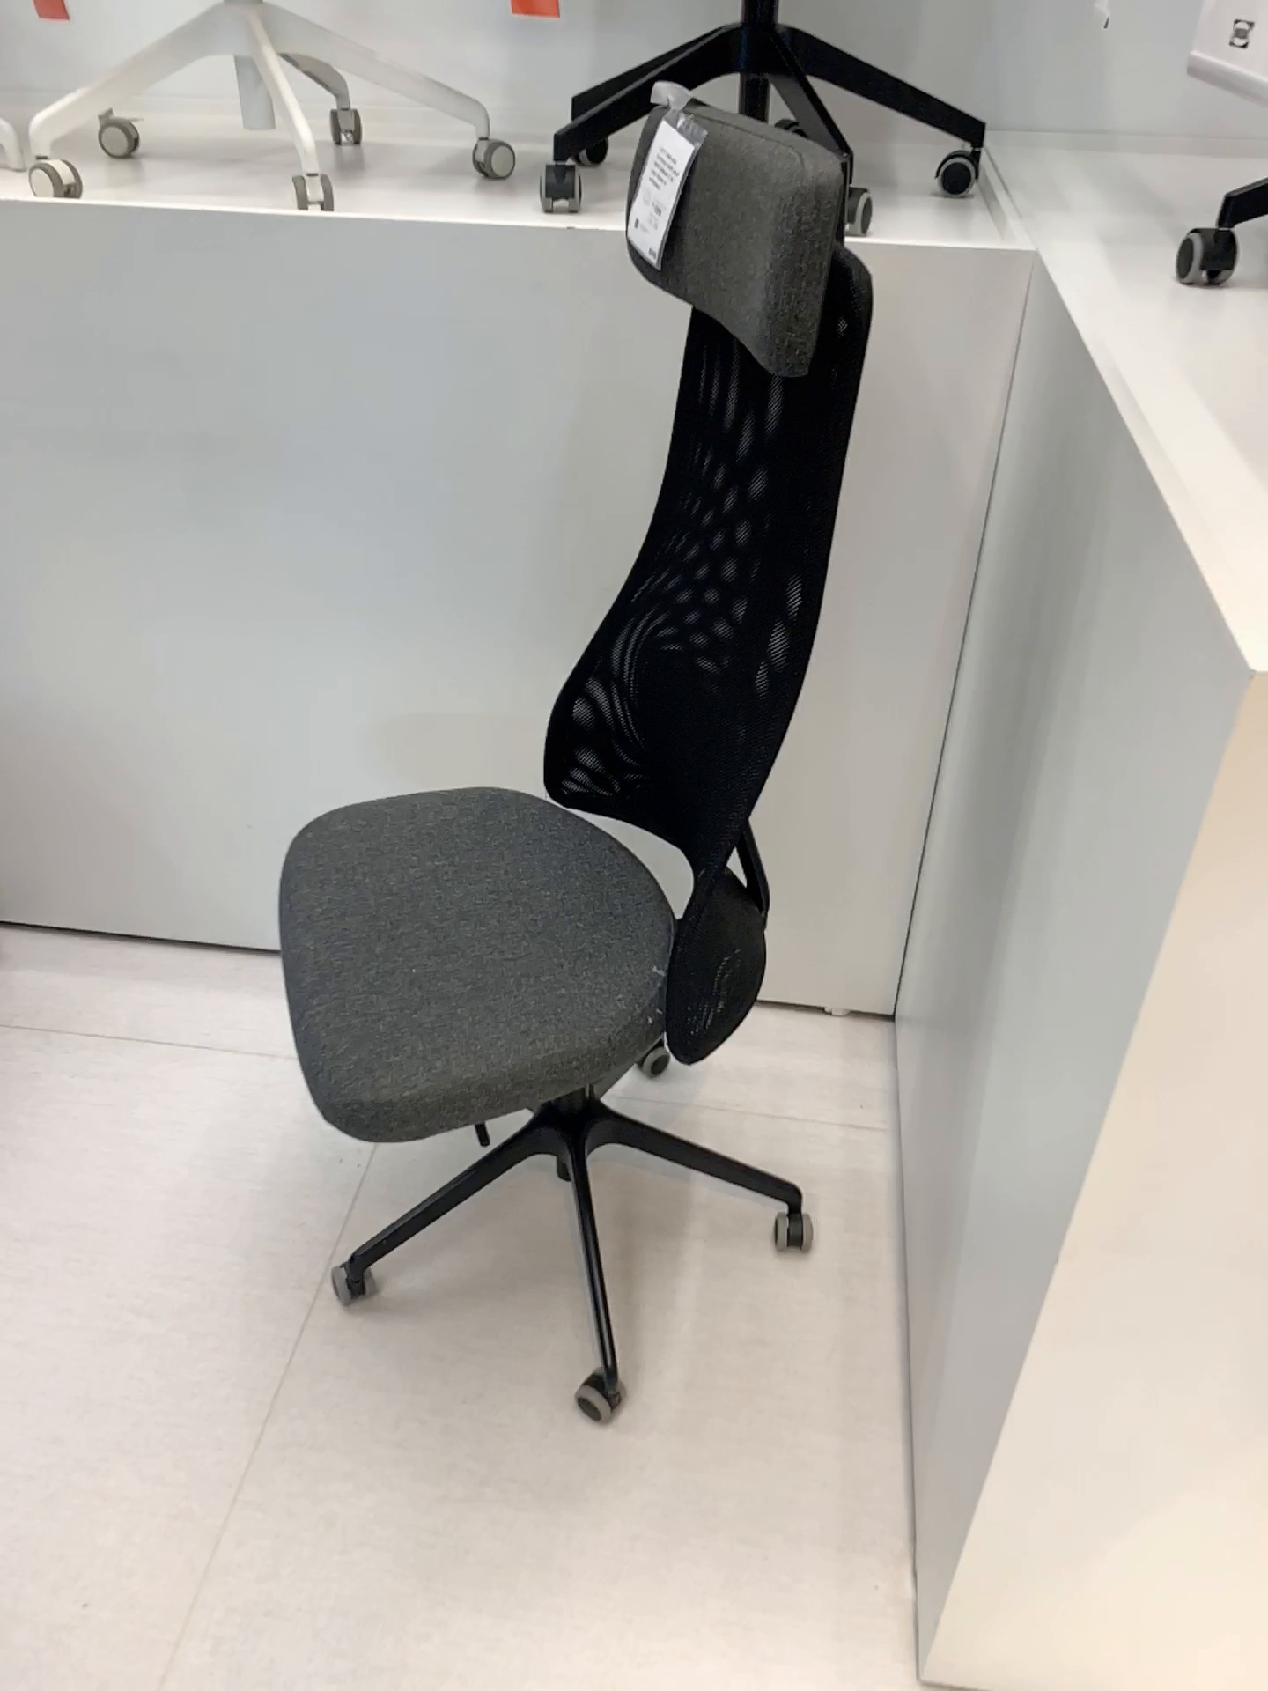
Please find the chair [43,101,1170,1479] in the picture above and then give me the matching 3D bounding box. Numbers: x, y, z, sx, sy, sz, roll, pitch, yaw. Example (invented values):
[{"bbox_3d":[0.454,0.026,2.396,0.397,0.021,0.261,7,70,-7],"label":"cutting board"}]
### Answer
[{"bbox_3d":[-0.067,-0.034,1.384,0.670,1.265,0.663,-6,36,-10],"label":"chair"}]
